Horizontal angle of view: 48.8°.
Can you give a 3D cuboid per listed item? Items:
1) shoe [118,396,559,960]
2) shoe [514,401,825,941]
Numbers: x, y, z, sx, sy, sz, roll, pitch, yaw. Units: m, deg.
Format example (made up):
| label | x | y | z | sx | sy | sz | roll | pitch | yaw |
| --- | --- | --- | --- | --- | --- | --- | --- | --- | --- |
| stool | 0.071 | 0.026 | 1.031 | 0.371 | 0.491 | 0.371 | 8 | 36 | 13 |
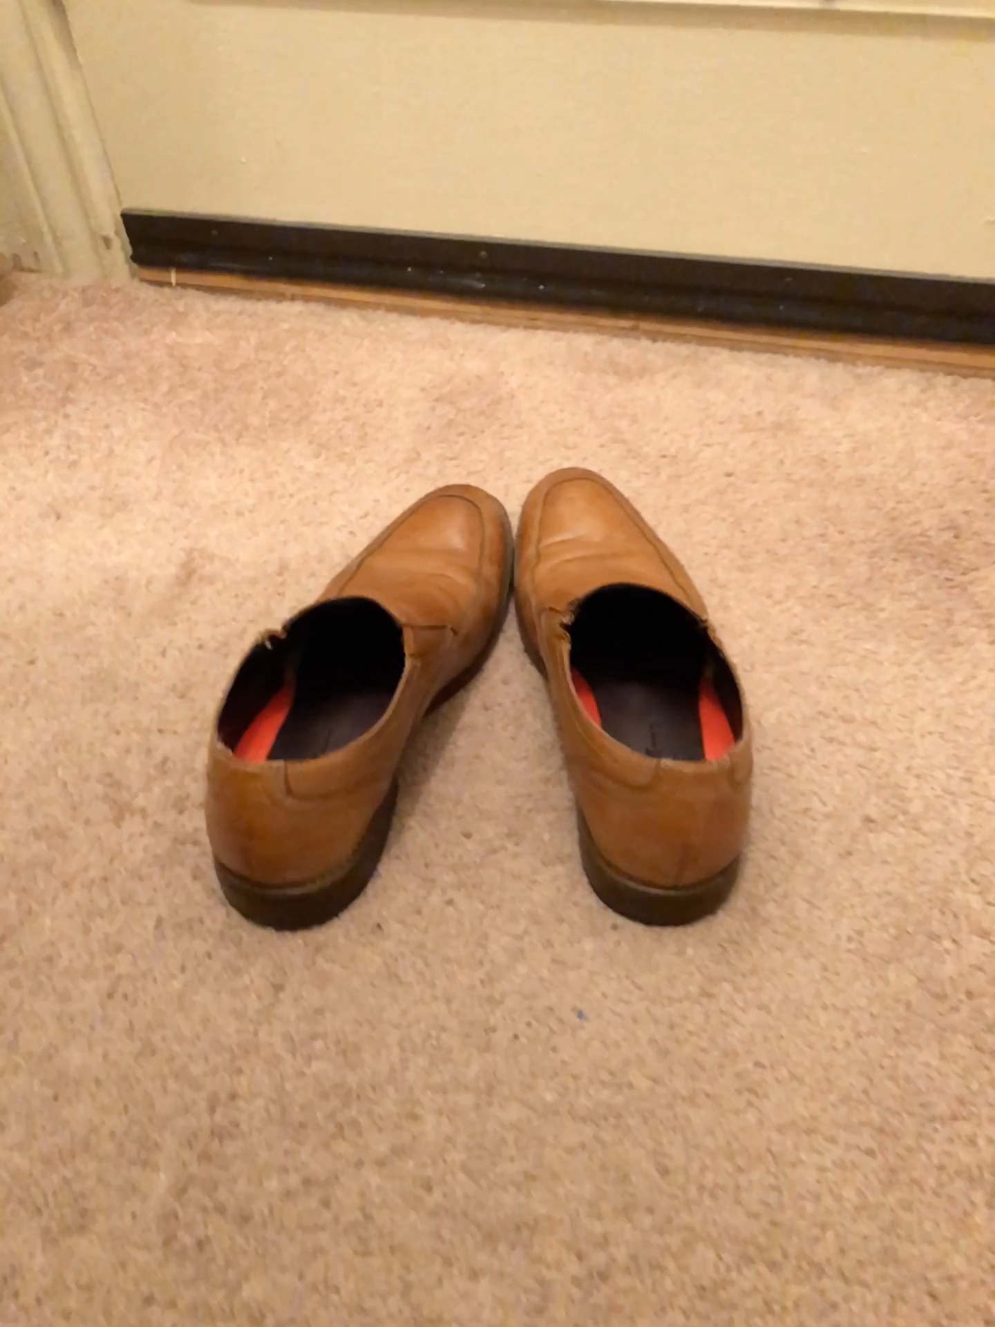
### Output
| label | x | y | z | sx | sy | sz | roll | pitch | yaw |
| --- | --- | --- | --- | --- | --- | --- | --- | --- | --- |
| shoe | -0.057 | -0.017 | 0.573 | 0.100 | 0.090 | 0.322 | 11 | 44 | 13 |
| shoe | 0.070 | -0.017 | 0.572 | 0.107 | 0.089 | 0.312 | -3 | 42 | 0 |
